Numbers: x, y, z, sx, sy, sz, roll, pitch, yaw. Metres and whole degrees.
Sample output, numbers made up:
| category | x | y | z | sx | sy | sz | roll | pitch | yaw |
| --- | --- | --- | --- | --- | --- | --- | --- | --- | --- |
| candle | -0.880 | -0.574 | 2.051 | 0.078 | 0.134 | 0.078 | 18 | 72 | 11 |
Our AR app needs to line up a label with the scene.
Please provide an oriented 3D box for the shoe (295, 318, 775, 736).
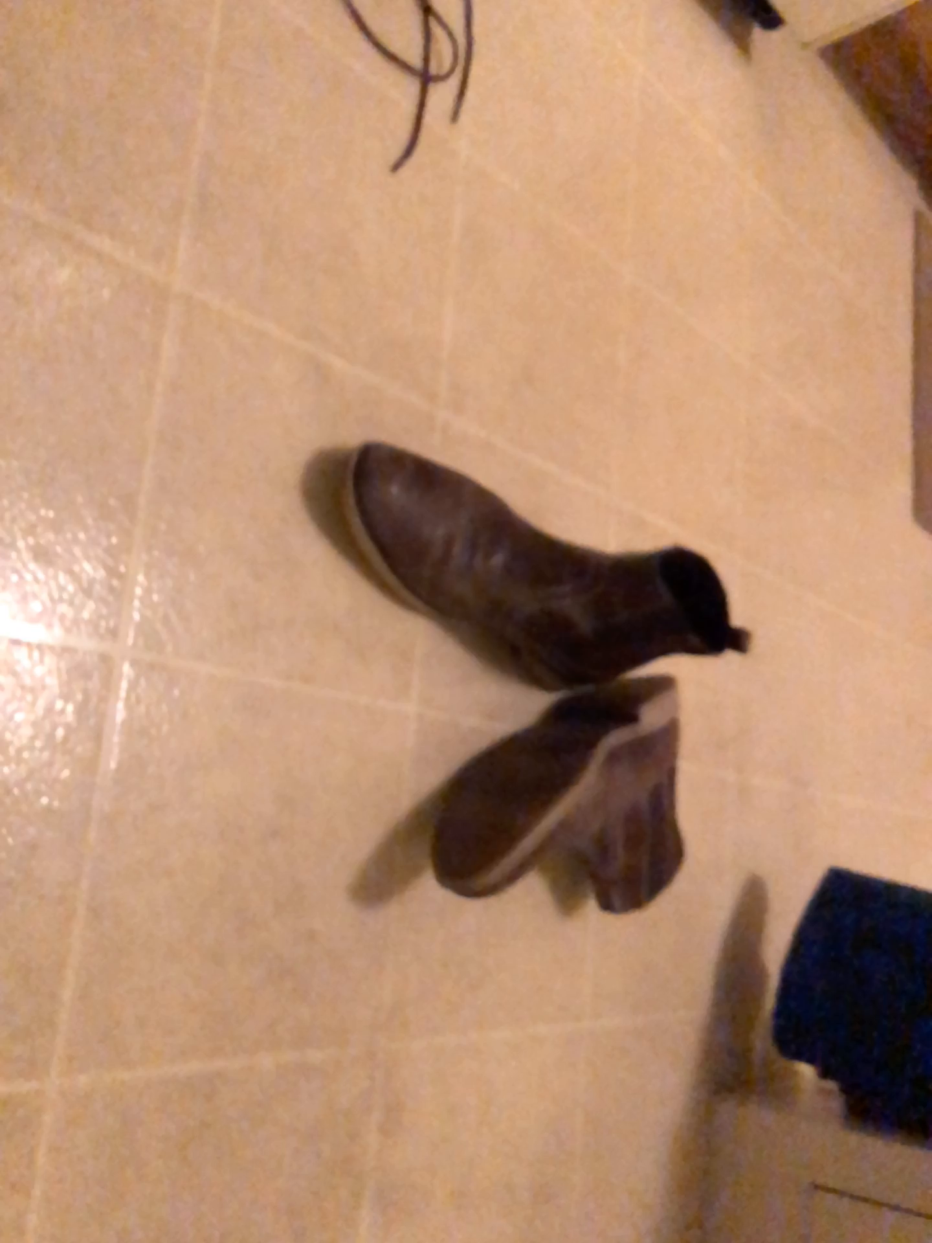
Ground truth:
| category | x | y | z | sx | sy | sz | roll | pitch | yaw |
| --- | --- | --- | --- | --- | --- | --- | --- | --- | --- |
| shoe | 0.062 | -0.041 | 0.730 | 0.314 | 0.160 | 0.111 | 40 | 58 | -36 |

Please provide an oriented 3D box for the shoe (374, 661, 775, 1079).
| category | x | y | z | sx | sy | sz | roll | pitch | yaw |
| --- | --- | --- | --- | --- | --- | --- | --- | --- | --- |
| shoe | 0.099 | 0.162 | 0.784 | 0.315 | 0.111 | 0.161 | -27 | 107 | -45 |
